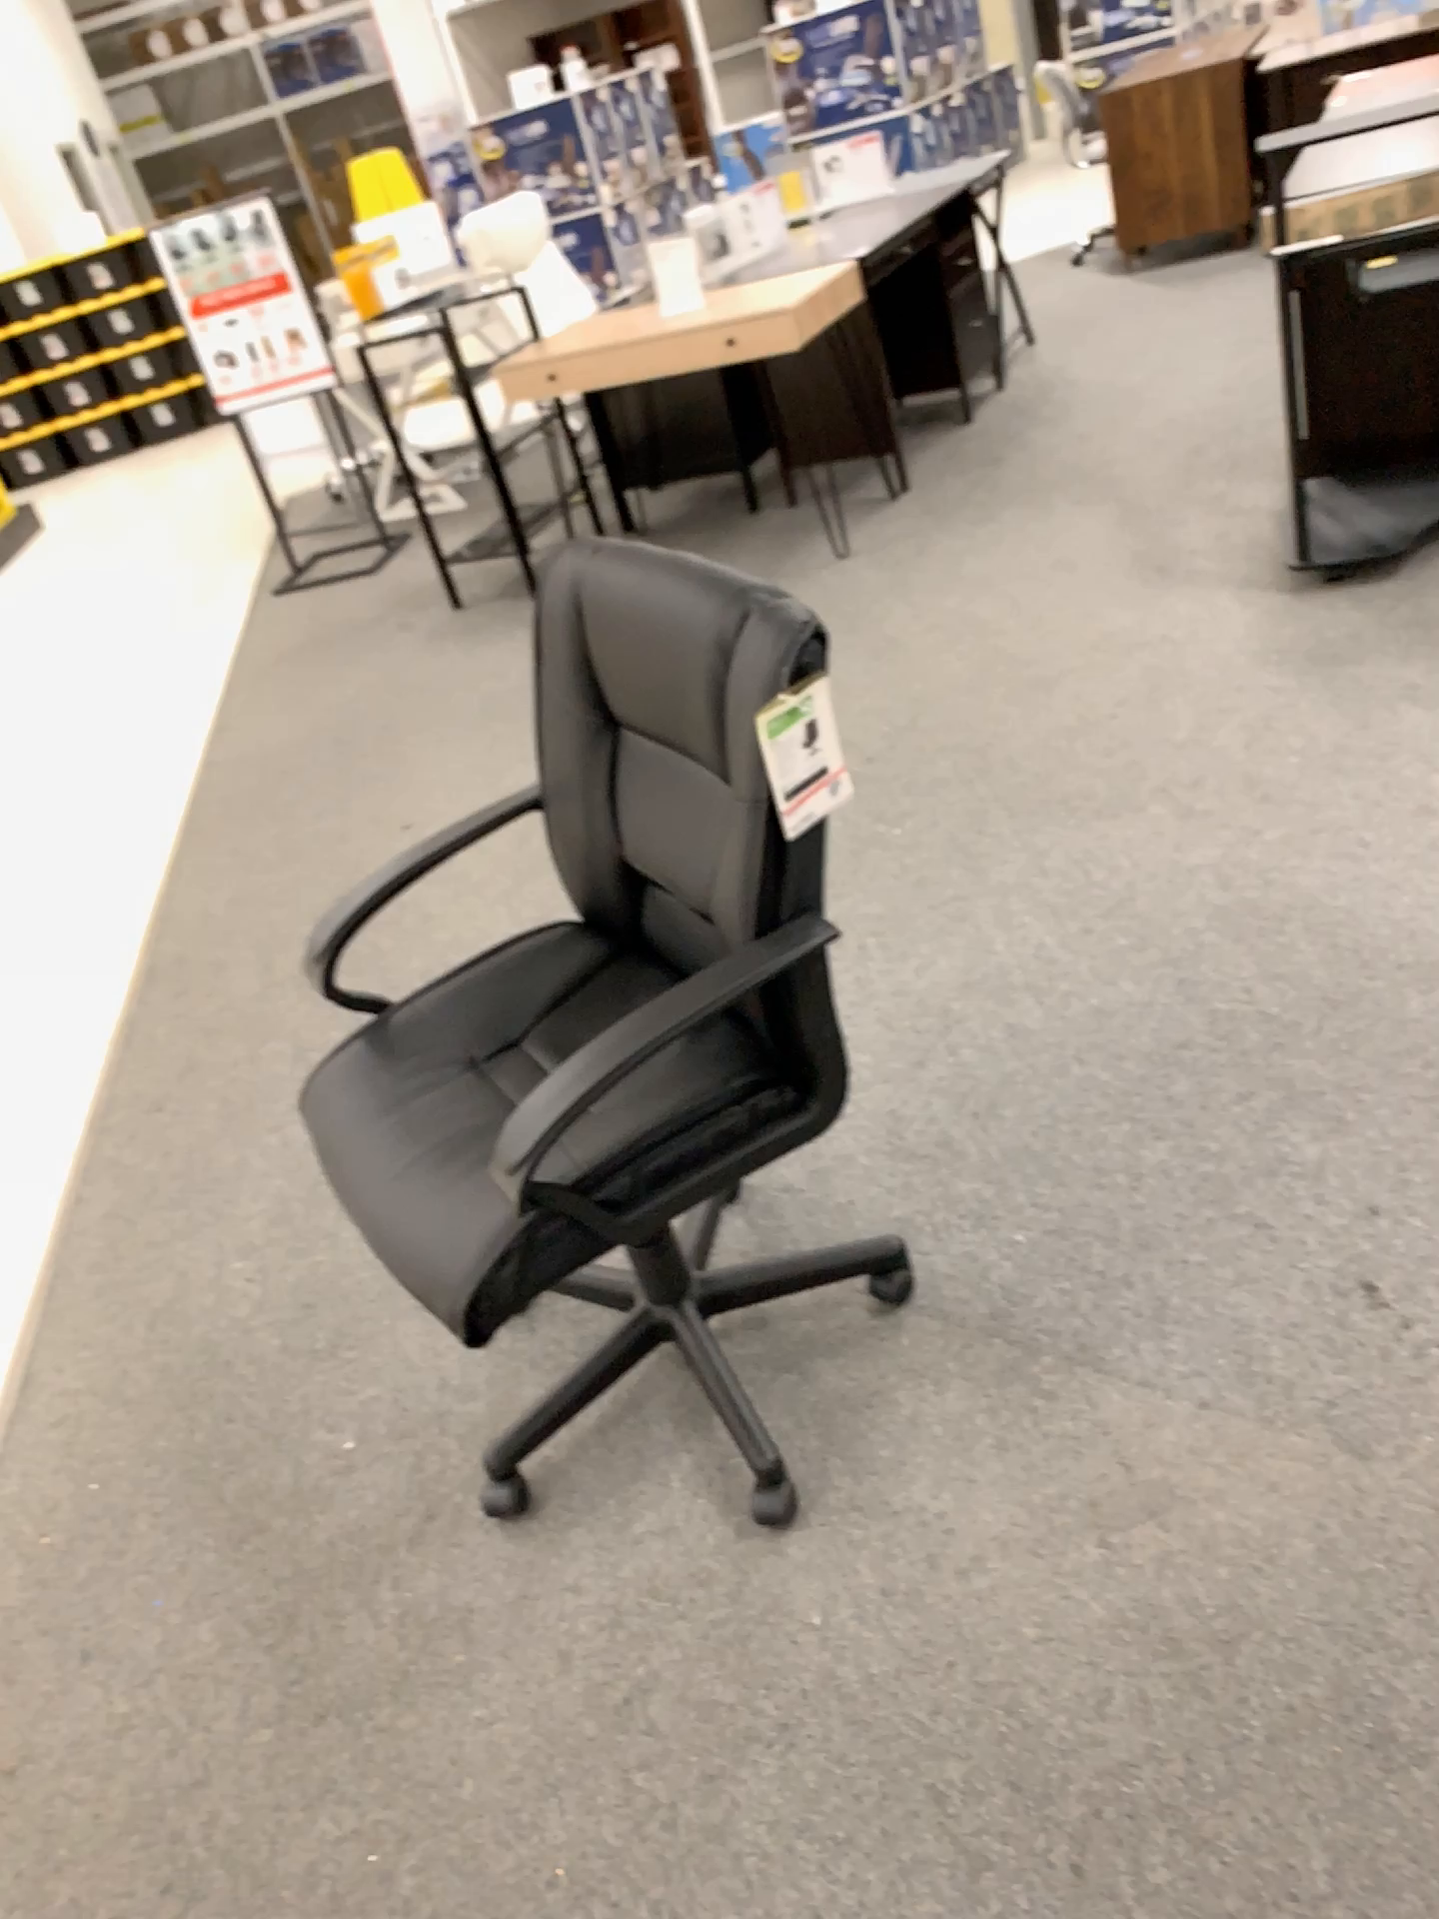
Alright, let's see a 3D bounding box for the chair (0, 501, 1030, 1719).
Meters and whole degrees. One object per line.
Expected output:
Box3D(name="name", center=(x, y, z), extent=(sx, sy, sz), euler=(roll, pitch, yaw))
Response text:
Box3D(name="chair", center=(-0.200, 0.127, 1.684), extent=(0.700, 0.964, 0.684), euler=(-29, 36, -18))
